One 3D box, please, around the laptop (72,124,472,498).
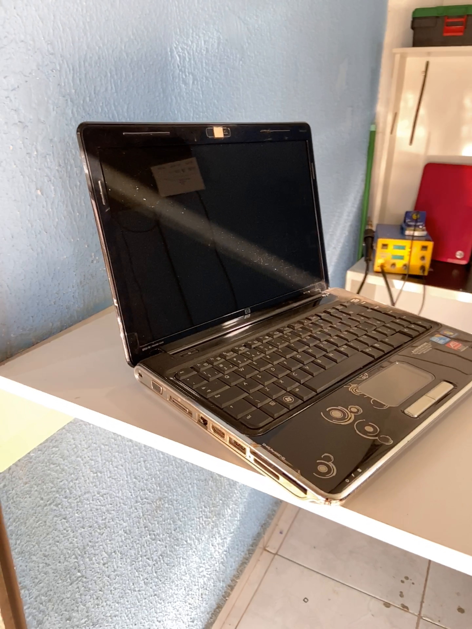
[{"bbox_3d":[0.072,-0.066,0.482,0.322,0.211,0.302,-19,31,-40],"label":"laptop"}]
